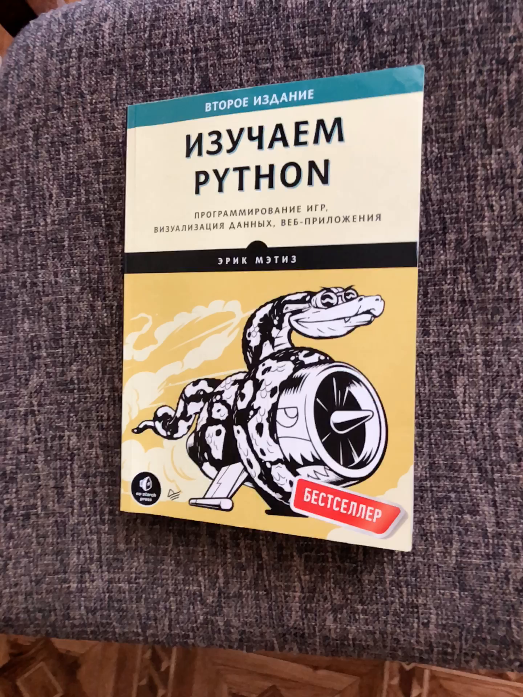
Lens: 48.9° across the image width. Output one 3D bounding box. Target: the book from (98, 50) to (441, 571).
[{"bbox_3d":[0.002,-0.020,0.304,0.167,0.040,0.233,2,89,20],"label":"book"}]
